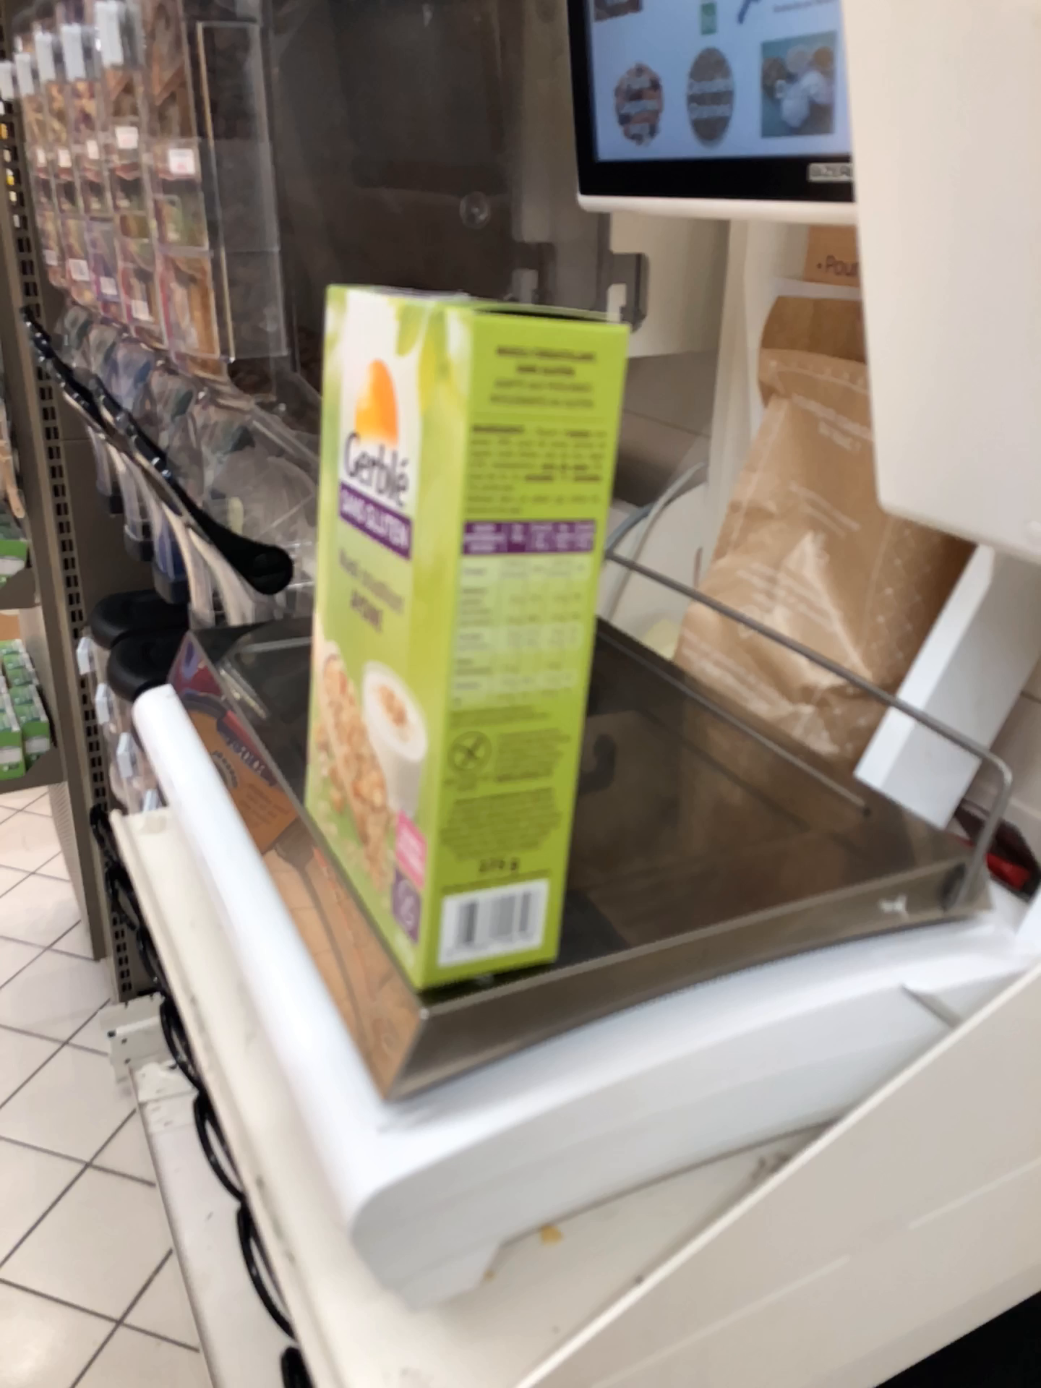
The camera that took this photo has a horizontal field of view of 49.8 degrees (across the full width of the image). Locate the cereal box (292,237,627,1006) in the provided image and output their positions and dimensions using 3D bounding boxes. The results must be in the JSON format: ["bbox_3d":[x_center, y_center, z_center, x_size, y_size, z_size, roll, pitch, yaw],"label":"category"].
[{"bbox_3d":[-0.035,-0.035,0.397,0.050,0.229,0.150,-3,20,-25],"label":"cereal box"}]
